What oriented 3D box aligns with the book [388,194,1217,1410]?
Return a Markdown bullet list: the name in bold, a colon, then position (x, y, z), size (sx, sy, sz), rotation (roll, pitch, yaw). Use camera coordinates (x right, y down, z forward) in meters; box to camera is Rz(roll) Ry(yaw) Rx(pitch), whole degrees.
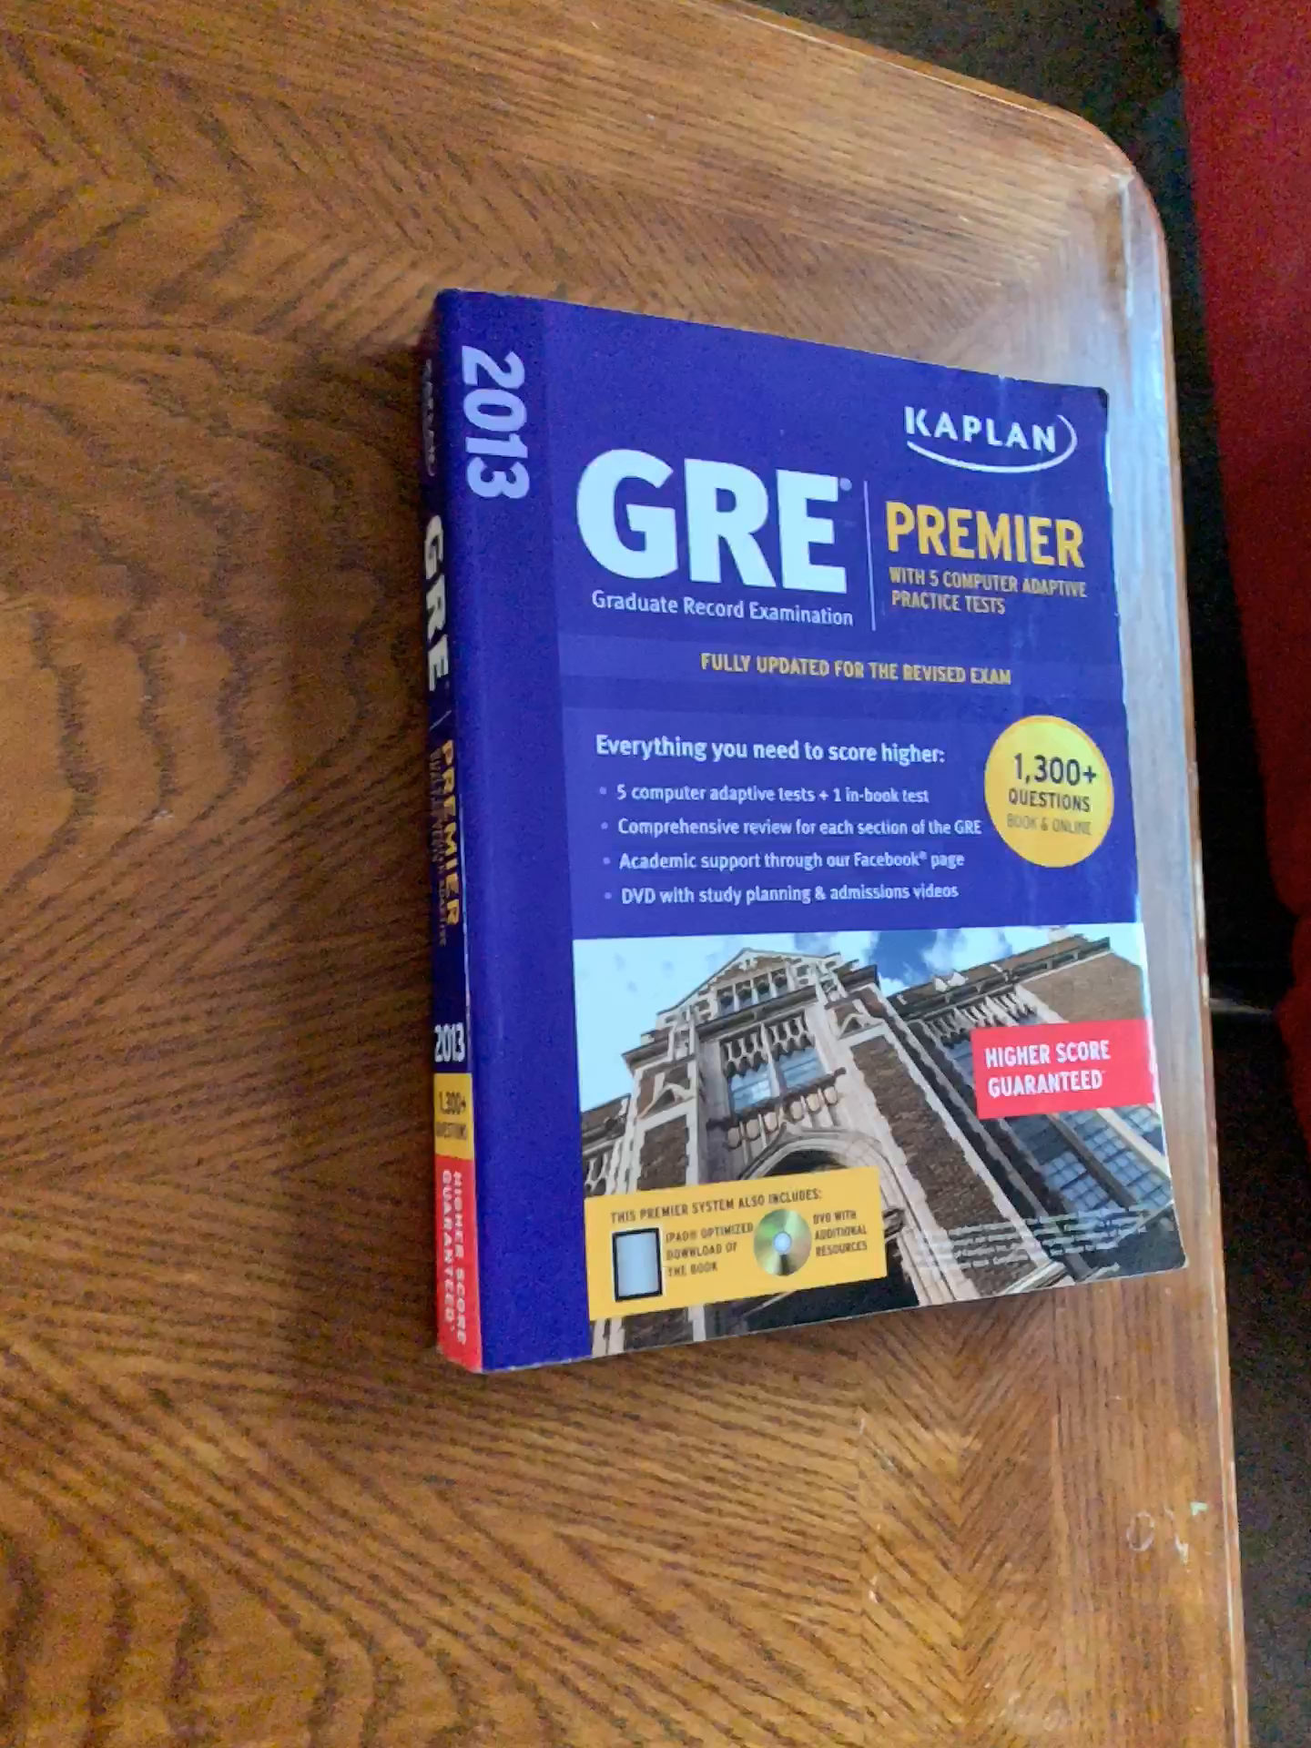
- **book**: position (0.042, -0.020, 0.388), size (0.220, 0.060, 0.290), rotation (0, 83, -23)
